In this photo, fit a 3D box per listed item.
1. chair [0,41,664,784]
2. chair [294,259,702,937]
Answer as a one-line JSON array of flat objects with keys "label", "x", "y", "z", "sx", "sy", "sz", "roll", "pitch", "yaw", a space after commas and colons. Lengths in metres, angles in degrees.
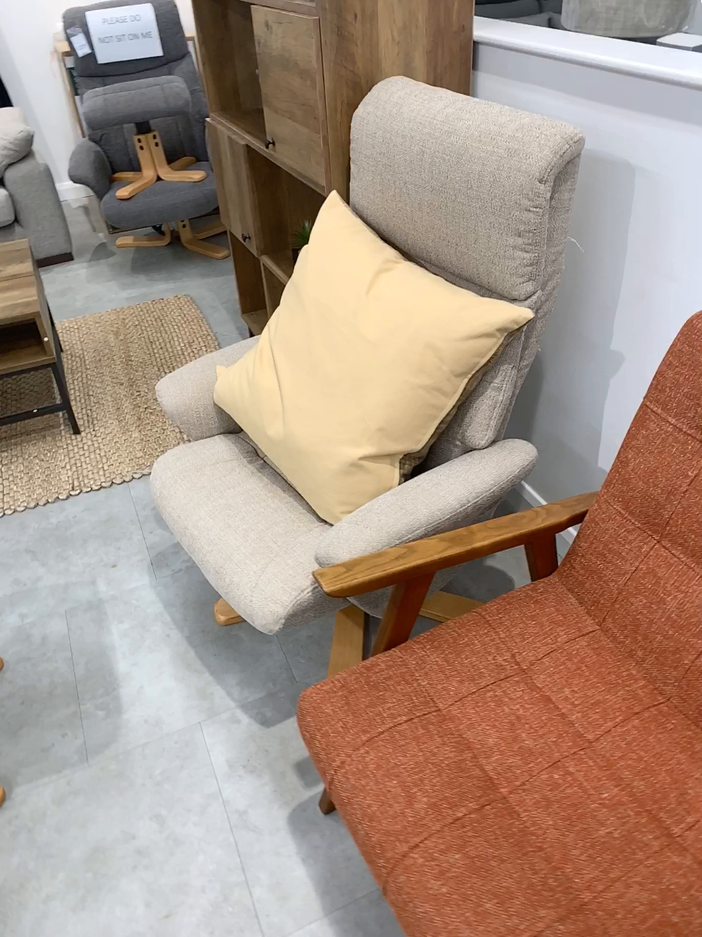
[{"label": "chair", "x": -0.068, "y": -0.122, "z": 1.398, "sx": 0.659, "sy": 1.047, "sz": 0.766, "roll": -26, "pitch": 49, "yaw": -26}, {"label": "chair", "x": 0.319, "y": 0.283, "z": 0.998, "sx": 0.618, "sy": 0.919, "sz": 0.555, "roll": -15, "pitch": 38, "yaw": -24}]
